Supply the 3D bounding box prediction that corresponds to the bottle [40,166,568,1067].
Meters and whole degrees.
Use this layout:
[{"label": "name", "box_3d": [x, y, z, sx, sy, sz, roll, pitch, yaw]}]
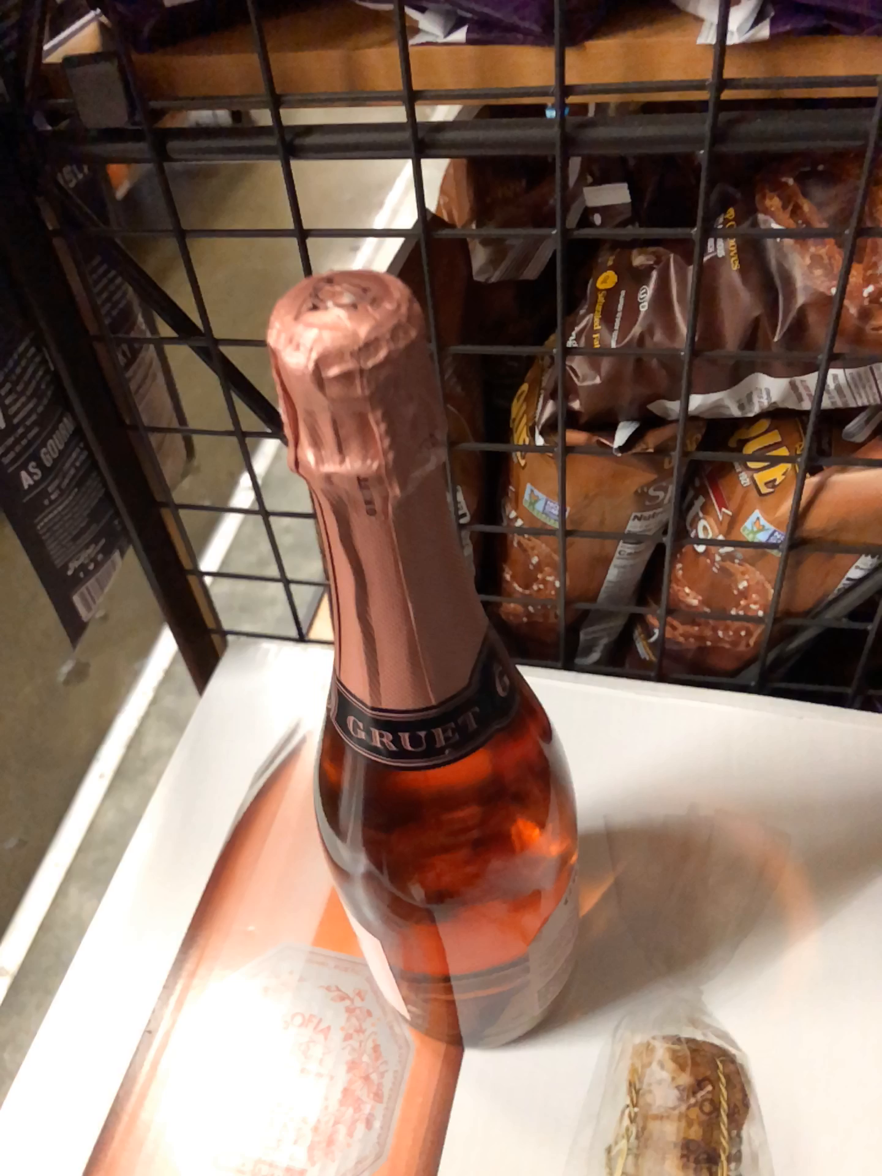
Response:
[{"label": "bottle", "box_3d": [-0.006, 0.046, 0.306, 0.090, 0.312, 0.090, -4, 46, 4]}]
